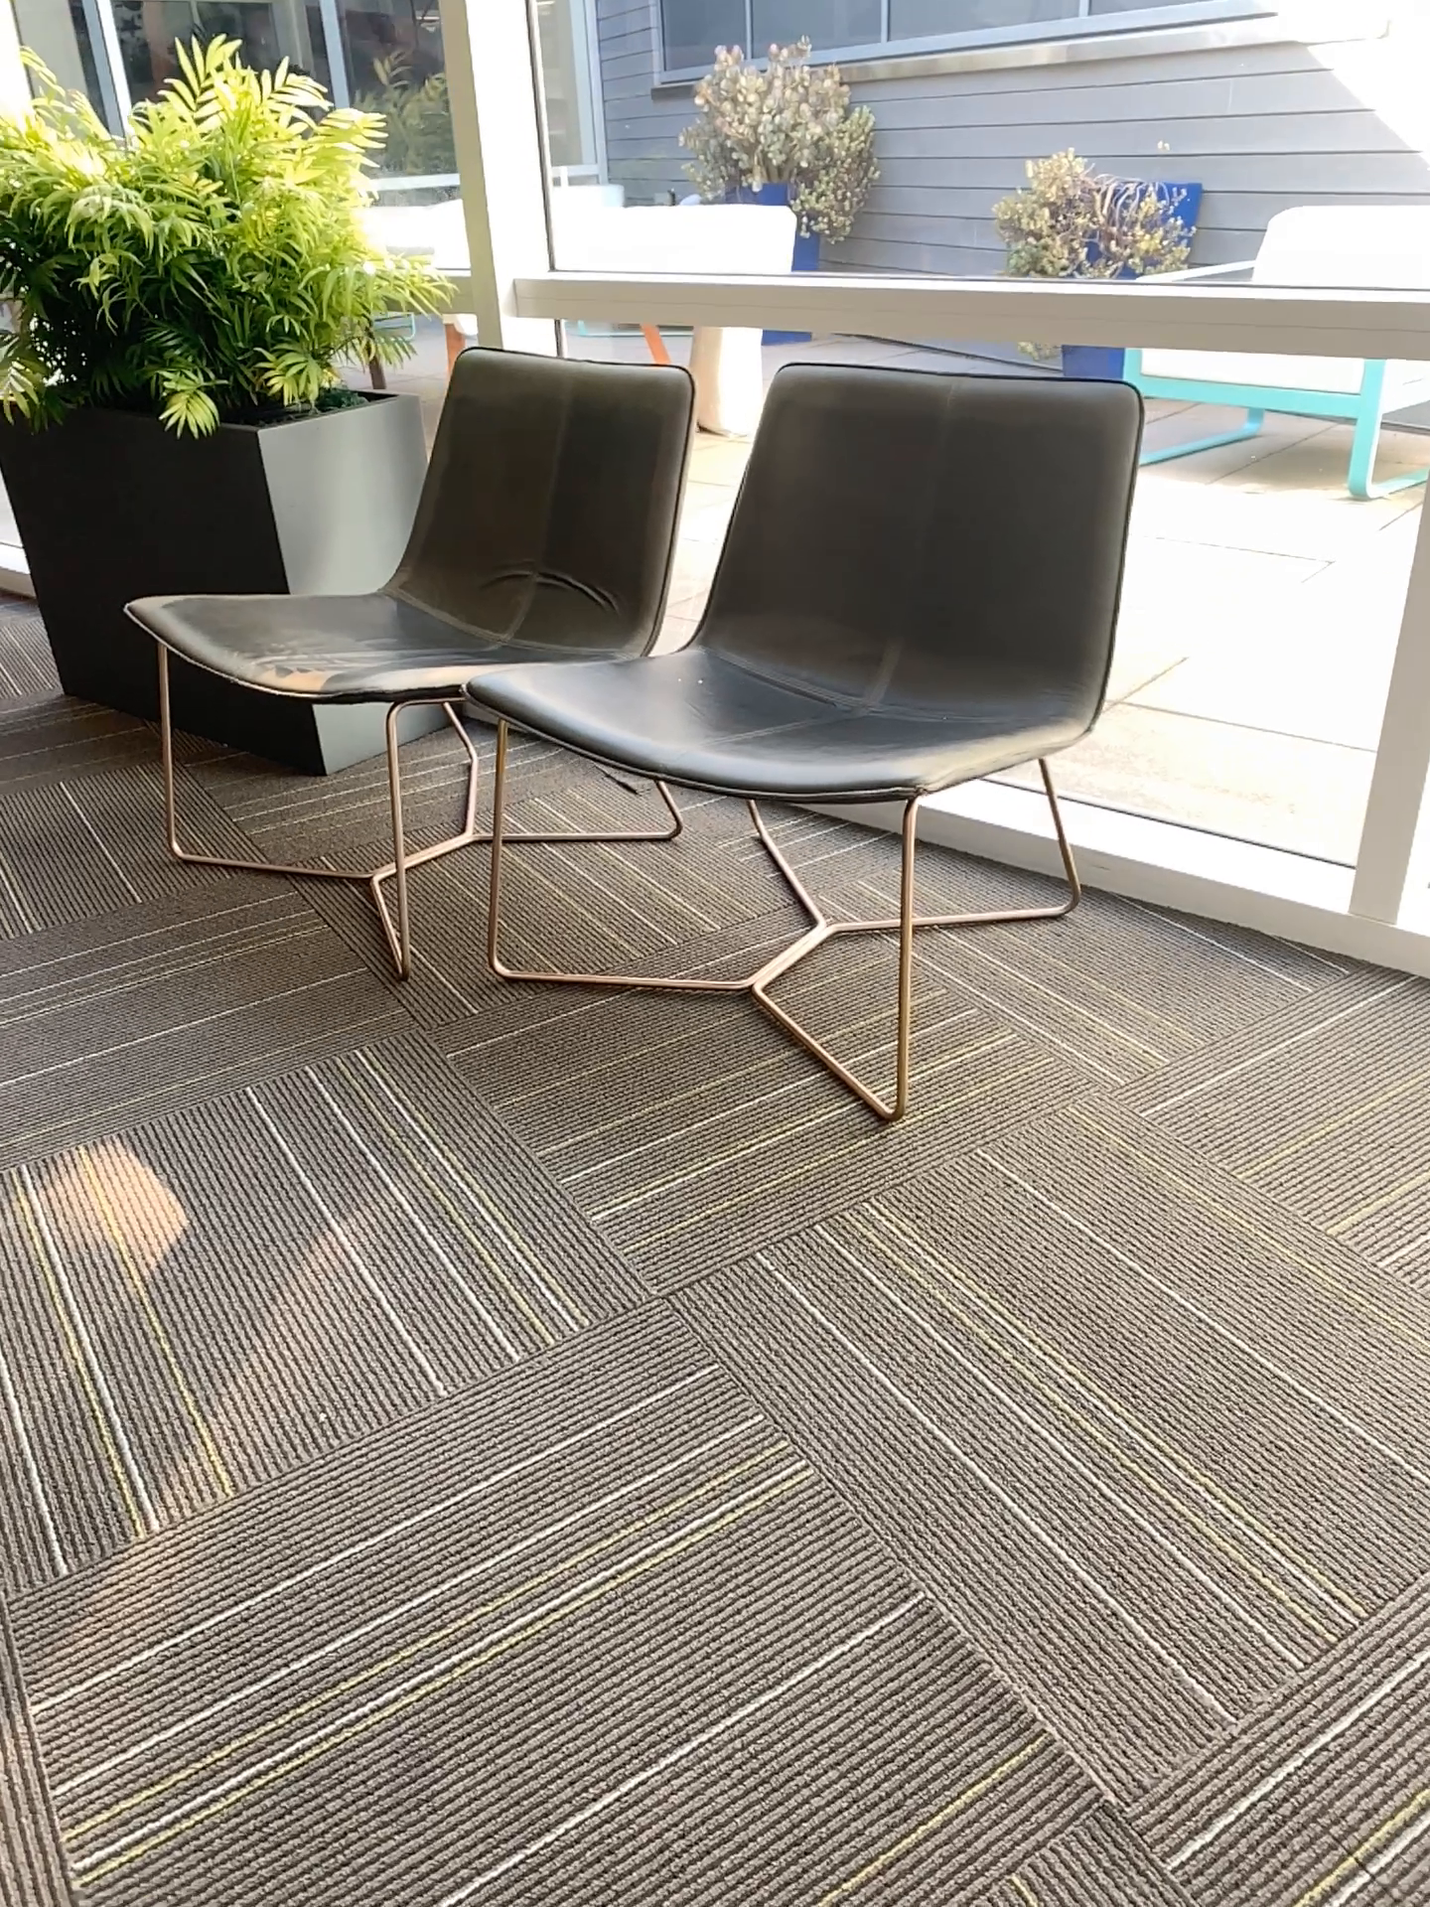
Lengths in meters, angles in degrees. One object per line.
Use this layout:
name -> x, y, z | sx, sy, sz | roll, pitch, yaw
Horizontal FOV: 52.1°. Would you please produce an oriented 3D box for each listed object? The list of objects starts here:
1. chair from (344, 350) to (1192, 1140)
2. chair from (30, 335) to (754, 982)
chair -> 0.092, -0.331, 1.825 | 0.702, 0.676, 0.692 | 17, 35, 31
chair -> -0.443, -0.499, 2.183 | 0.703, 0.676, 0.691 | 23, 38, 38
